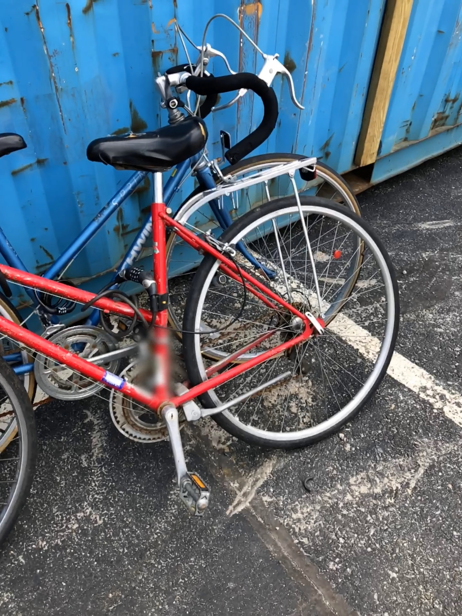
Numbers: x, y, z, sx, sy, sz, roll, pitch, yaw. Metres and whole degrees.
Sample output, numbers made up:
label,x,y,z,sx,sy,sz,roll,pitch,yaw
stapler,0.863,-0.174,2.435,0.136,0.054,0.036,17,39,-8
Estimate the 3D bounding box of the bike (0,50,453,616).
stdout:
label,x,y,z,sx,sy,sz,roll,pitch,yaw
bike,-0.308,-0.014,1.141,1.644,0.824,0.484,-21,48,-26
